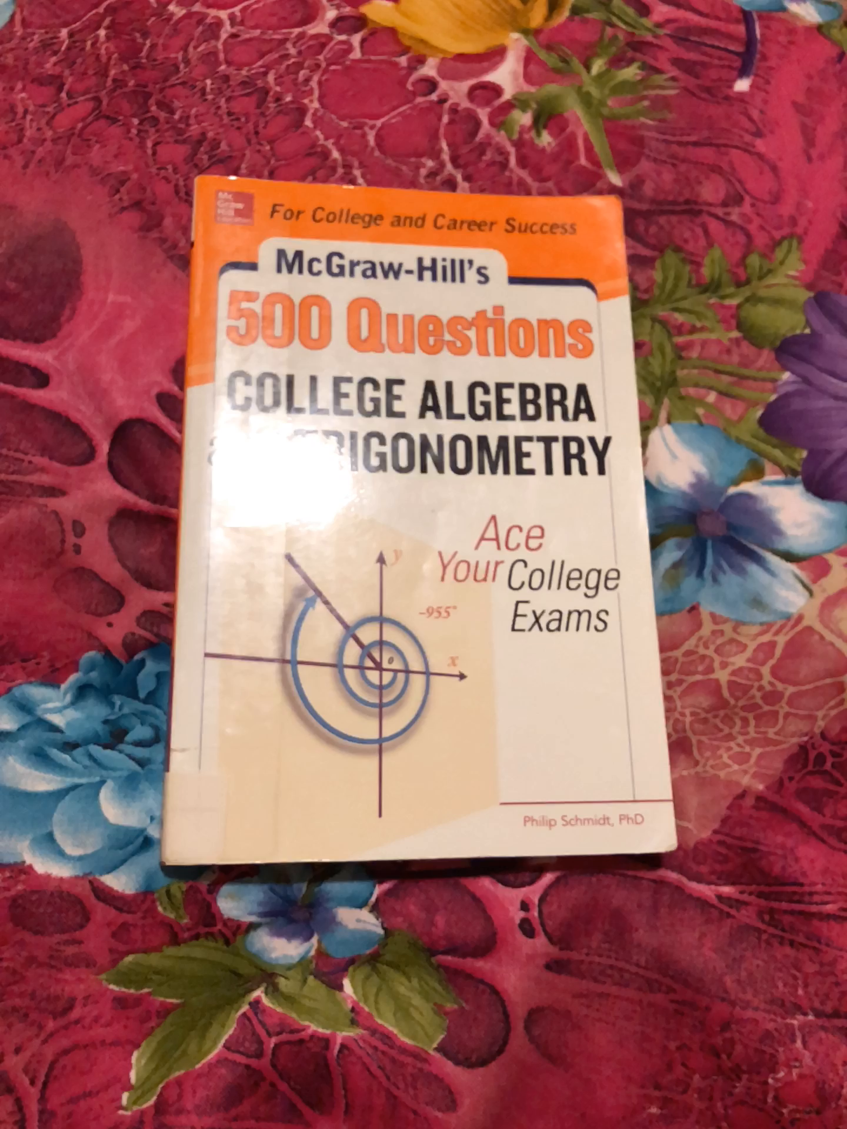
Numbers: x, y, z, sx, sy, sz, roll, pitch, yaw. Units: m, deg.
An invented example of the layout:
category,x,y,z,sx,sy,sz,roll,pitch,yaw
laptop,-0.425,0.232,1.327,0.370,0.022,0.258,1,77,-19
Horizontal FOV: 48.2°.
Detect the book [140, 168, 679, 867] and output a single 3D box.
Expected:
category,x,y,z,sx,sy,sz,roll,pitch,yaw
book,-0.004,-0.020,0.308,0.156,0.022,0.220,1,76,-8
